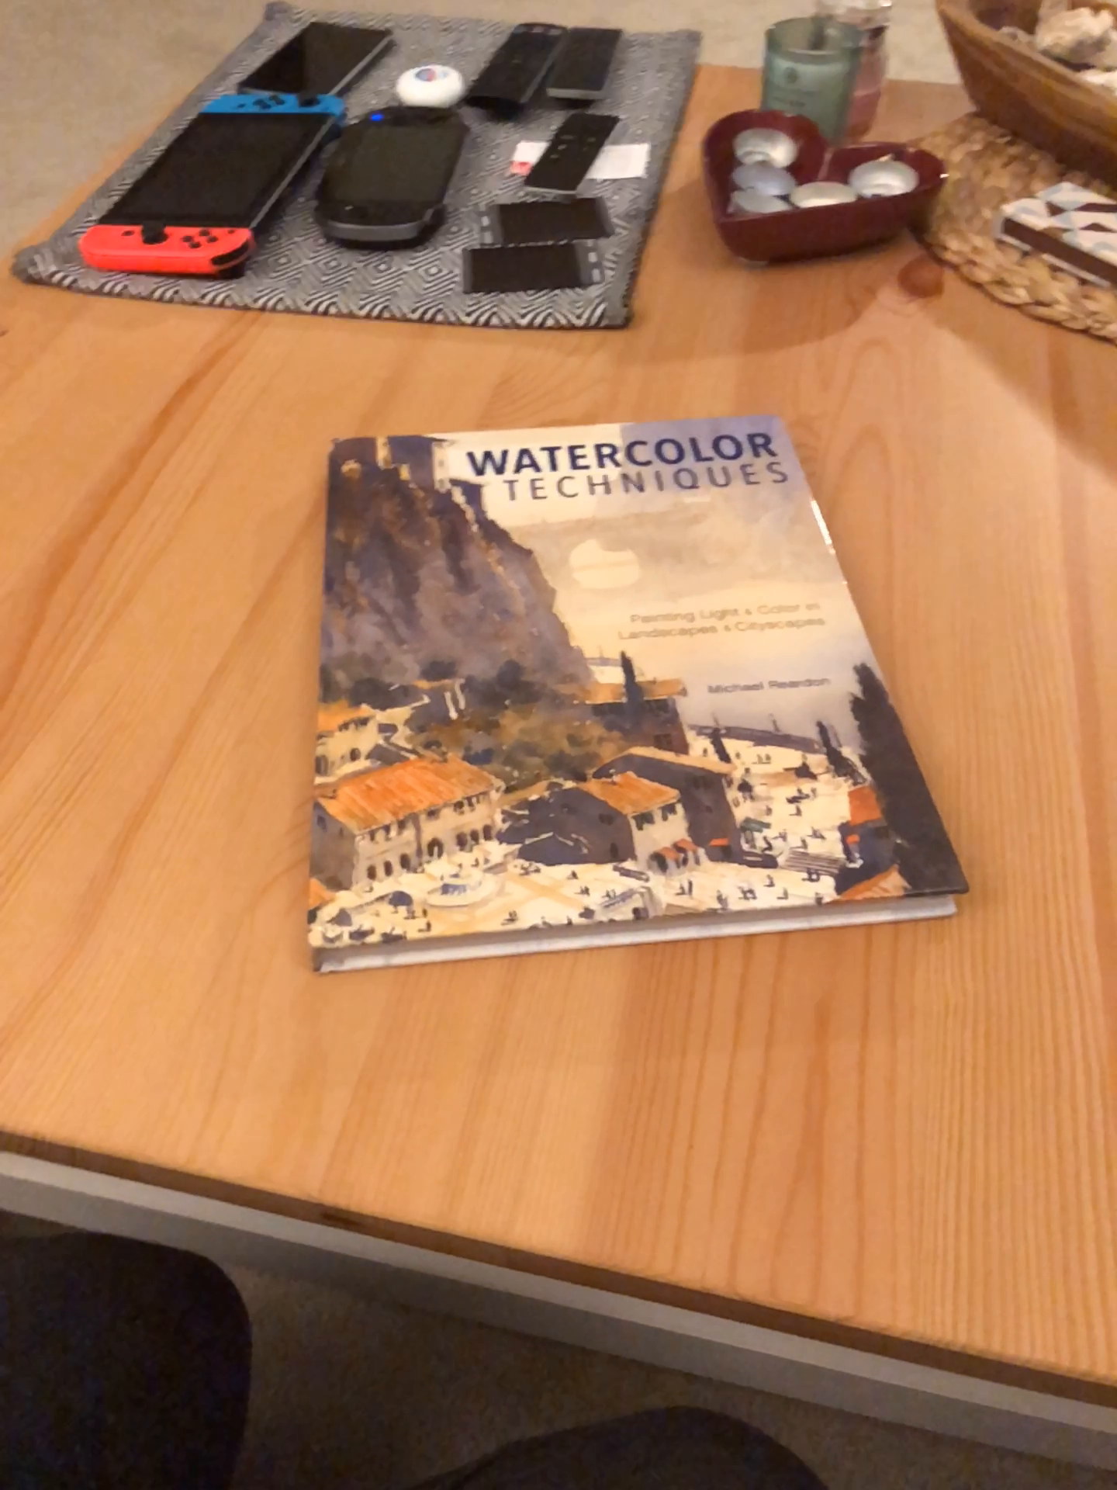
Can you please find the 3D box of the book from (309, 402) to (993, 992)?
[{"bbox_3d":[0.015,-0.041,0.480,0.213,0.020,0.280,-5,48,-4],"label":"book"}]
